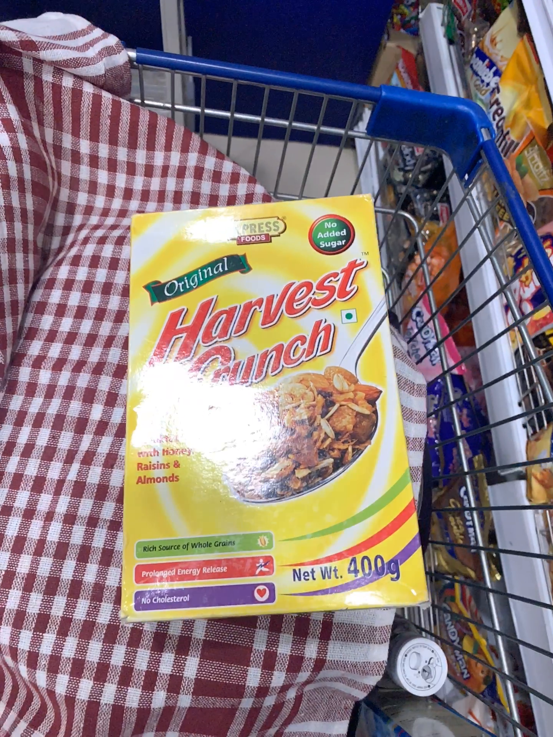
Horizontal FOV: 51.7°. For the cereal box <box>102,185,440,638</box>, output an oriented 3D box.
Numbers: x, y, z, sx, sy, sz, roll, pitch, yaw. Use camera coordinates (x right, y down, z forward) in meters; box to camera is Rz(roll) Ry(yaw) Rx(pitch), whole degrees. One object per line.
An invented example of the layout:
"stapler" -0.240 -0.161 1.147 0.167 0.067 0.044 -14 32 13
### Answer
"cereal box" -0.008 0.018 0.308 0.150 0.050 0.220 -5 73 4
